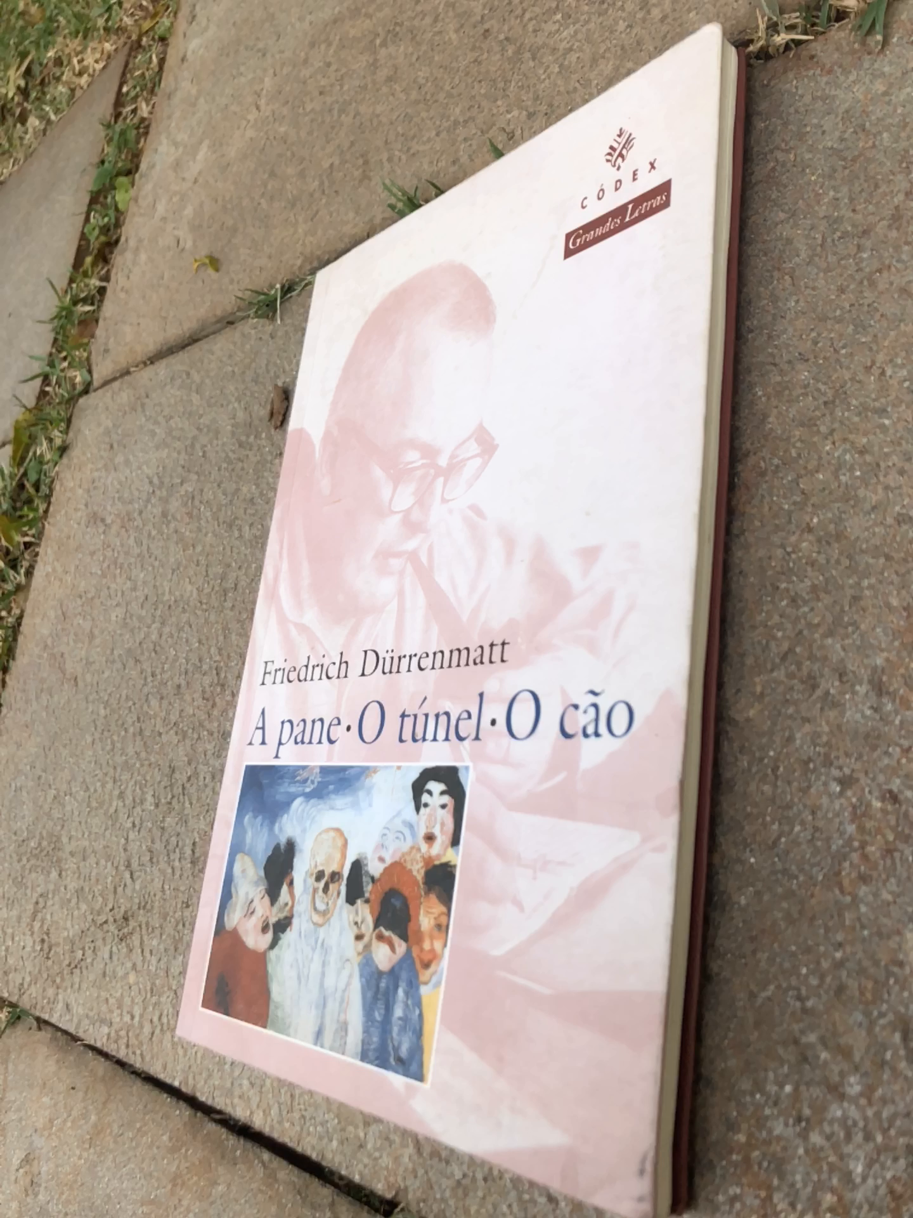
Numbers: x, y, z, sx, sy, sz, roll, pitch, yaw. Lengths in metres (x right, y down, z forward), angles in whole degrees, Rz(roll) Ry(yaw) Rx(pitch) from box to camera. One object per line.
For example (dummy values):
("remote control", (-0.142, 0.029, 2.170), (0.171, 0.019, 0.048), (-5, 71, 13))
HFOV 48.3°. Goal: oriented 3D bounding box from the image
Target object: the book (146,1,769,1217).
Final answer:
("book", (-0.006, -0.003, 0.211), (0.141, 0.015, 0.199), (-9, 68, 47))
